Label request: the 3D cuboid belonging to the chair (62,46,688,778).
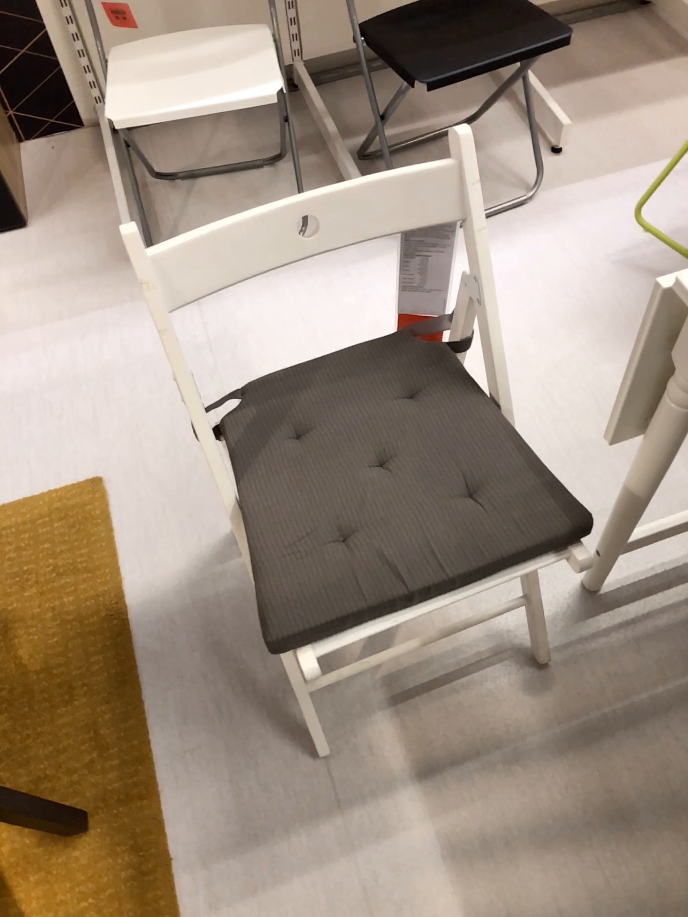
[{"bbox_3d":[0.039,0.010,0.918,0.440,0.696,0.452,-19,57,-8],"label":"chair"}]
